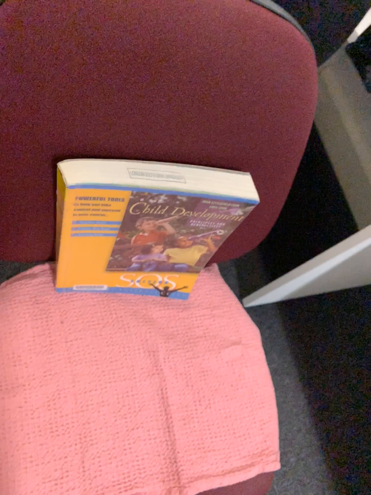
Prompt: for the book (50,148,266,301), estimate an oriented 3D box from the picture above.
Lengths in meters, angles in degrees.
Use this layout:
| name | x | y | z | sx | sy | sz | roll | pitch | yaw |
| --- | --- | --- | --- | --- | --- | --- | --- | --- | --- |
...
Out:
| name | x | y | z | sx | sy | sz | roll | pitch | yaw |
| --- | --- | --- | --- | --- | --- | --- | --- | --- | --- |
| book | -0.058 | -0.006 | 0.510 | 0.225 | 0.259 | 0.050 | 2 | 58 | -20 |
